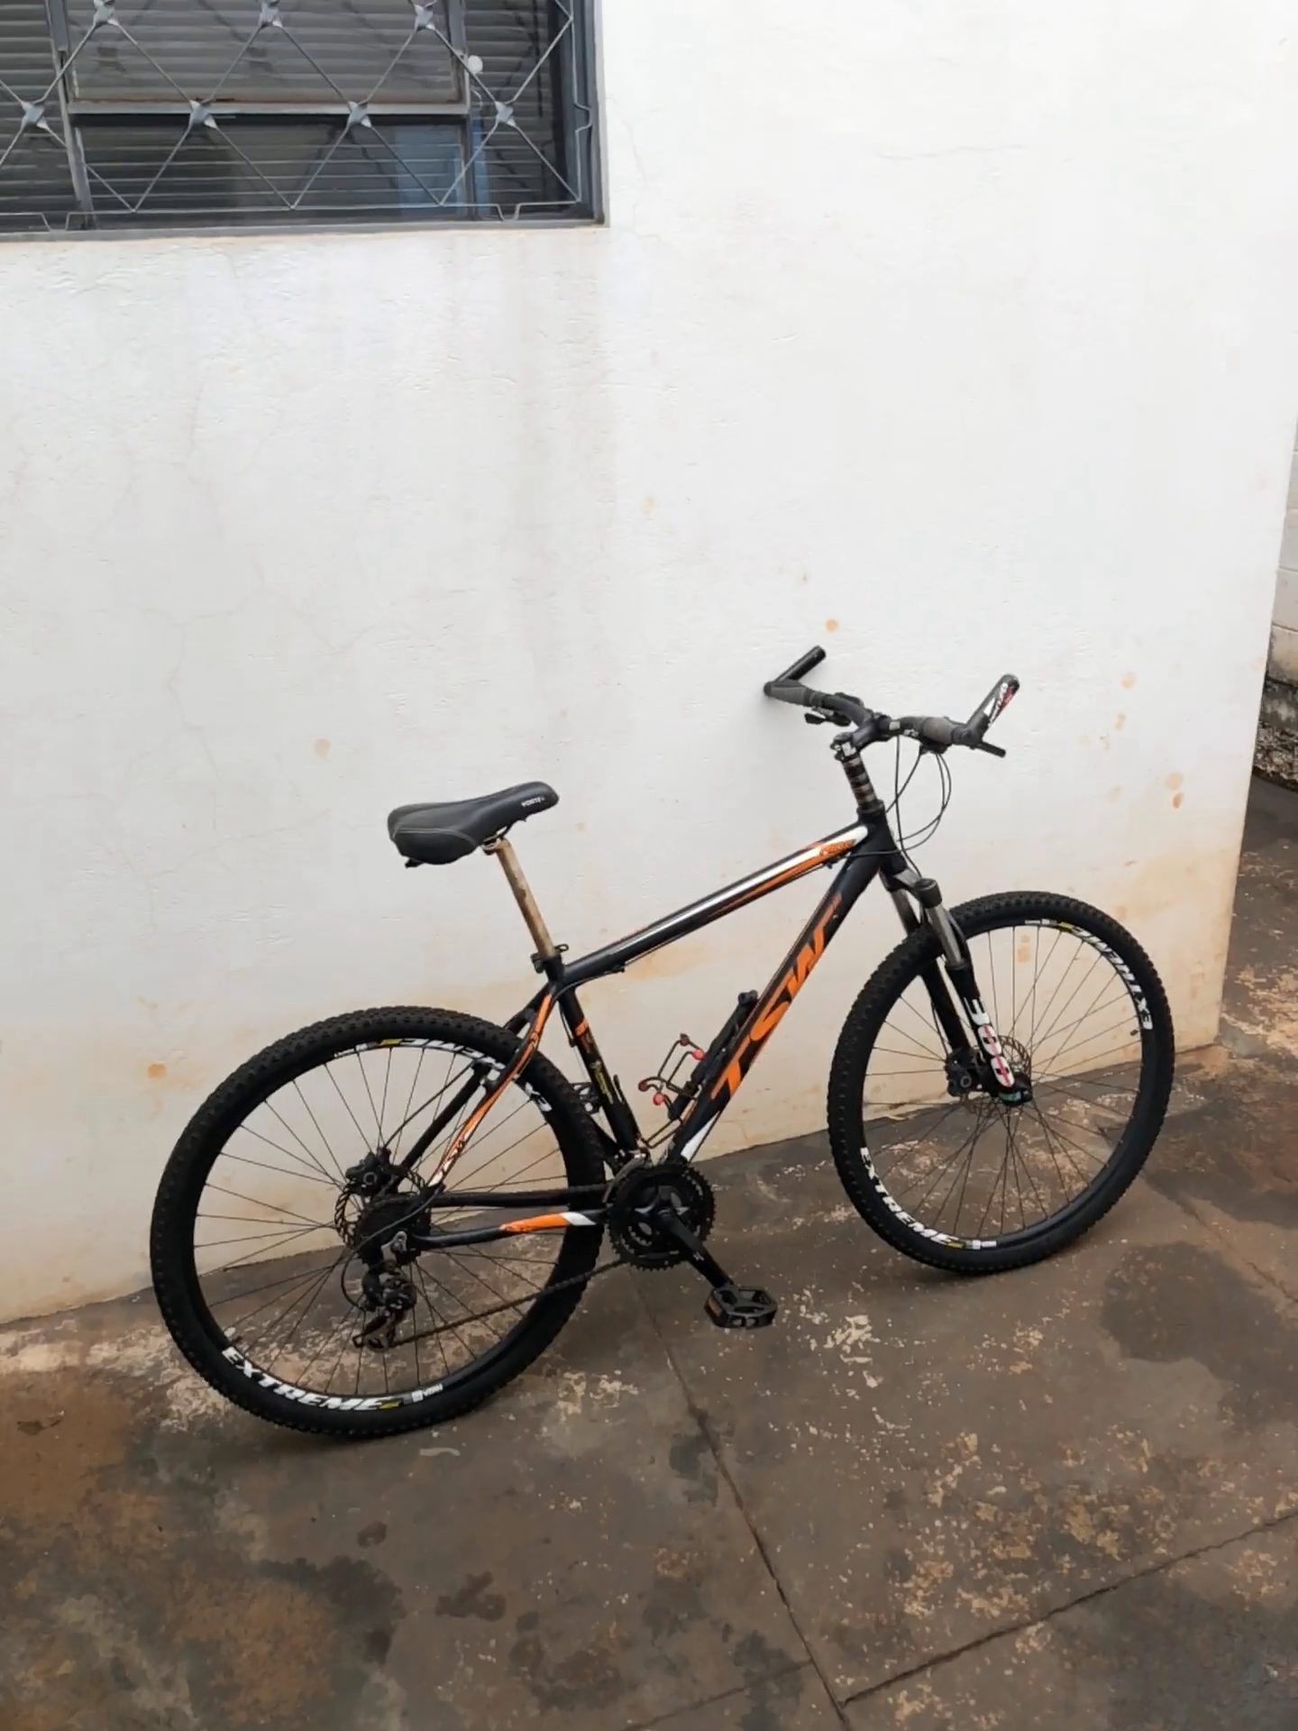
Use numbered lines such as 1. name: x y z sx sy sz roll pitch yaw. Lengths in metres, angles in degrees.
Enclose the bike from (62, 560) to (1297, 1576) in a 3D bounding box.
1. bike: 0.080 0.196 2.333 1.765 1.085 0.725 -10 24 -18
